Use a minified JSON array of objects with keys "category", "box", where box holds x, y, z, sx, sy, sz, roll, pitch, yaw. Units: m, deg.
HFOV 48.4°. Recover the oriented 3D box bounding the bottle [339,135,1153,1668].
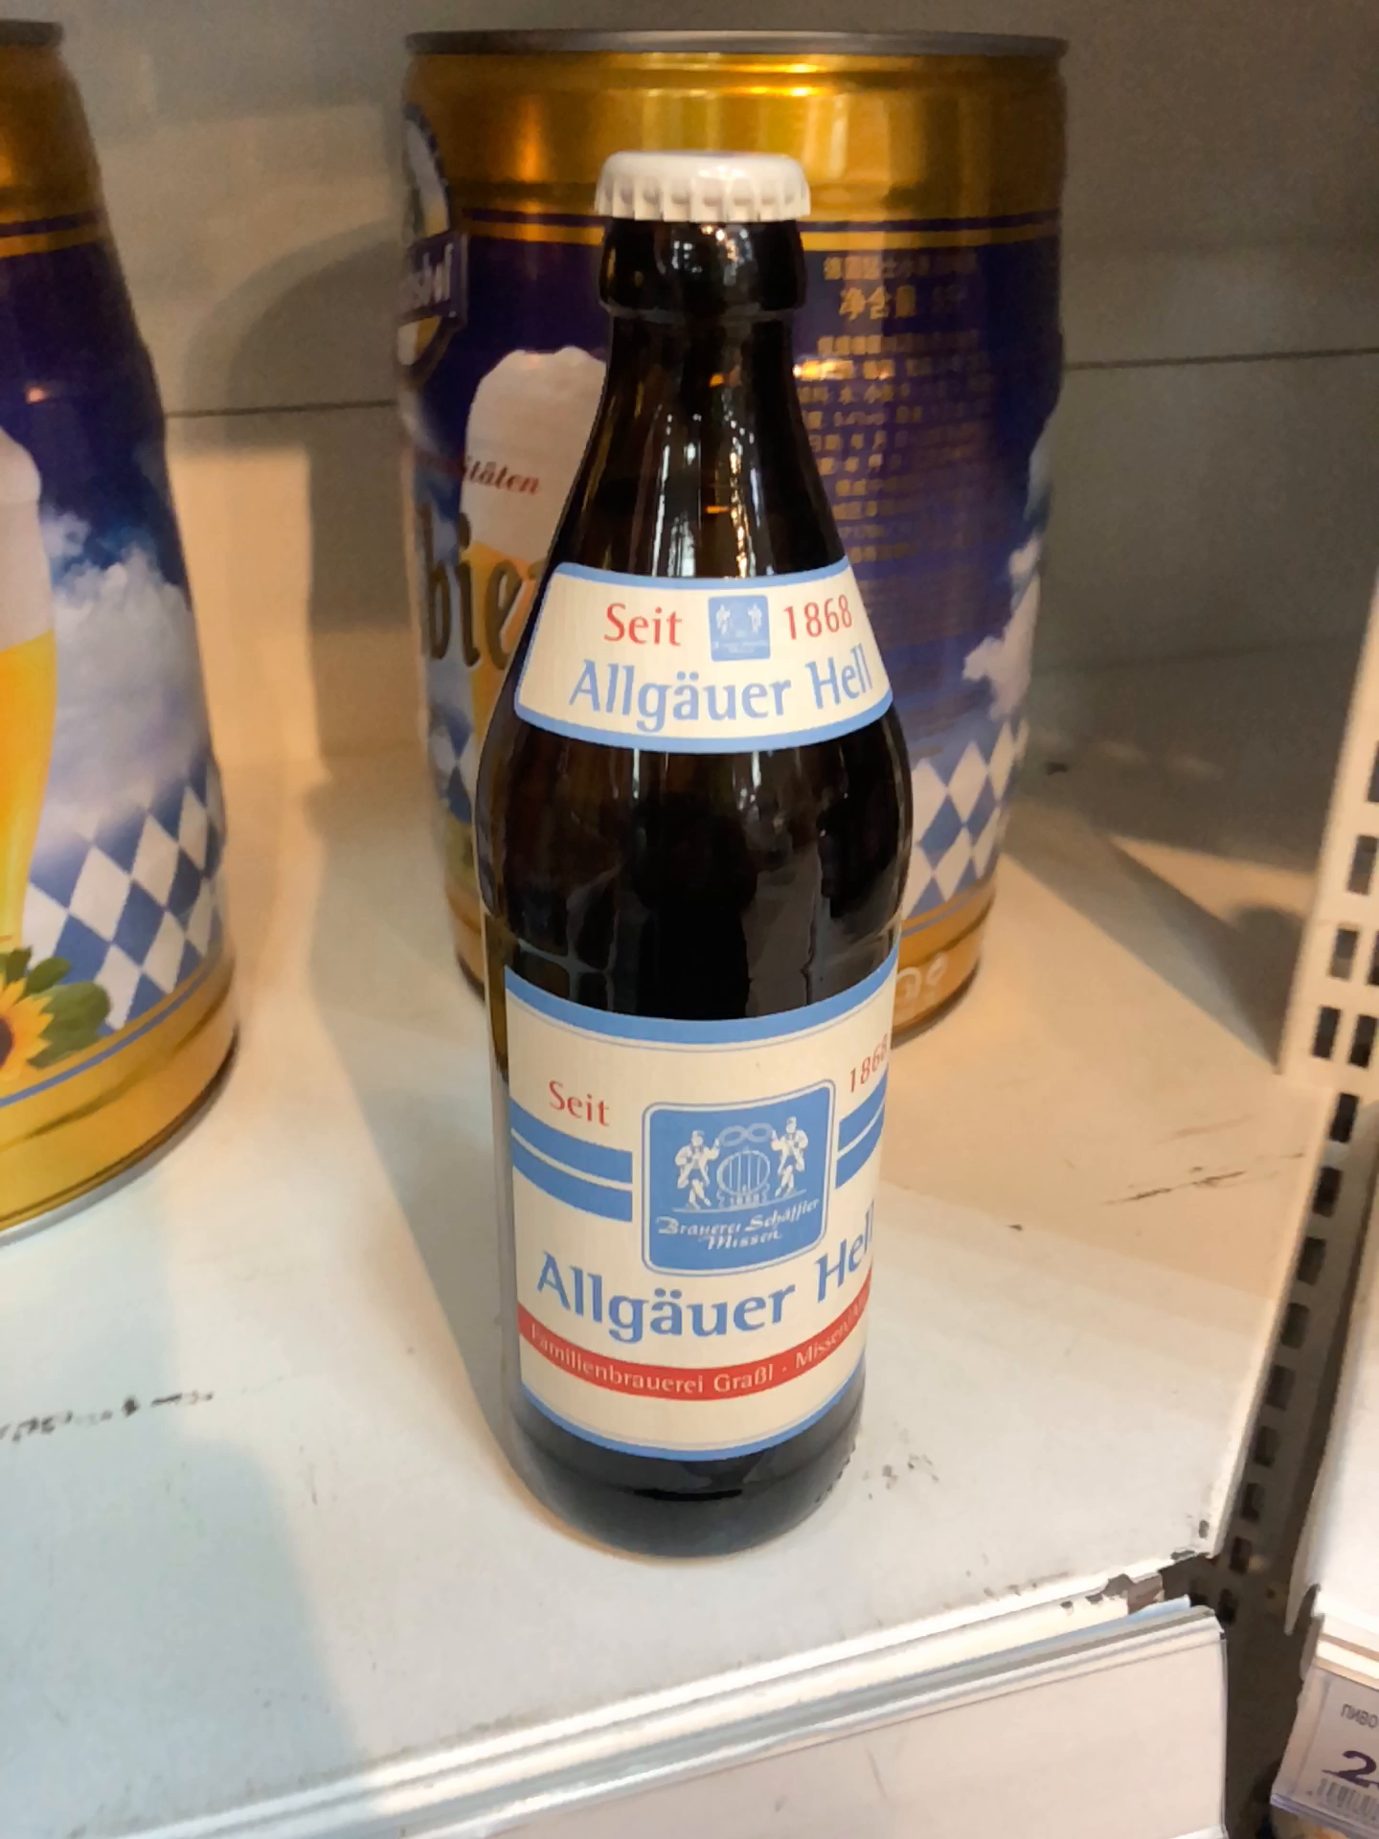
[{"category":"bottle","box":[0.000,0.001,0.240,0.080,0.219,0.080,0,28,0]}]
